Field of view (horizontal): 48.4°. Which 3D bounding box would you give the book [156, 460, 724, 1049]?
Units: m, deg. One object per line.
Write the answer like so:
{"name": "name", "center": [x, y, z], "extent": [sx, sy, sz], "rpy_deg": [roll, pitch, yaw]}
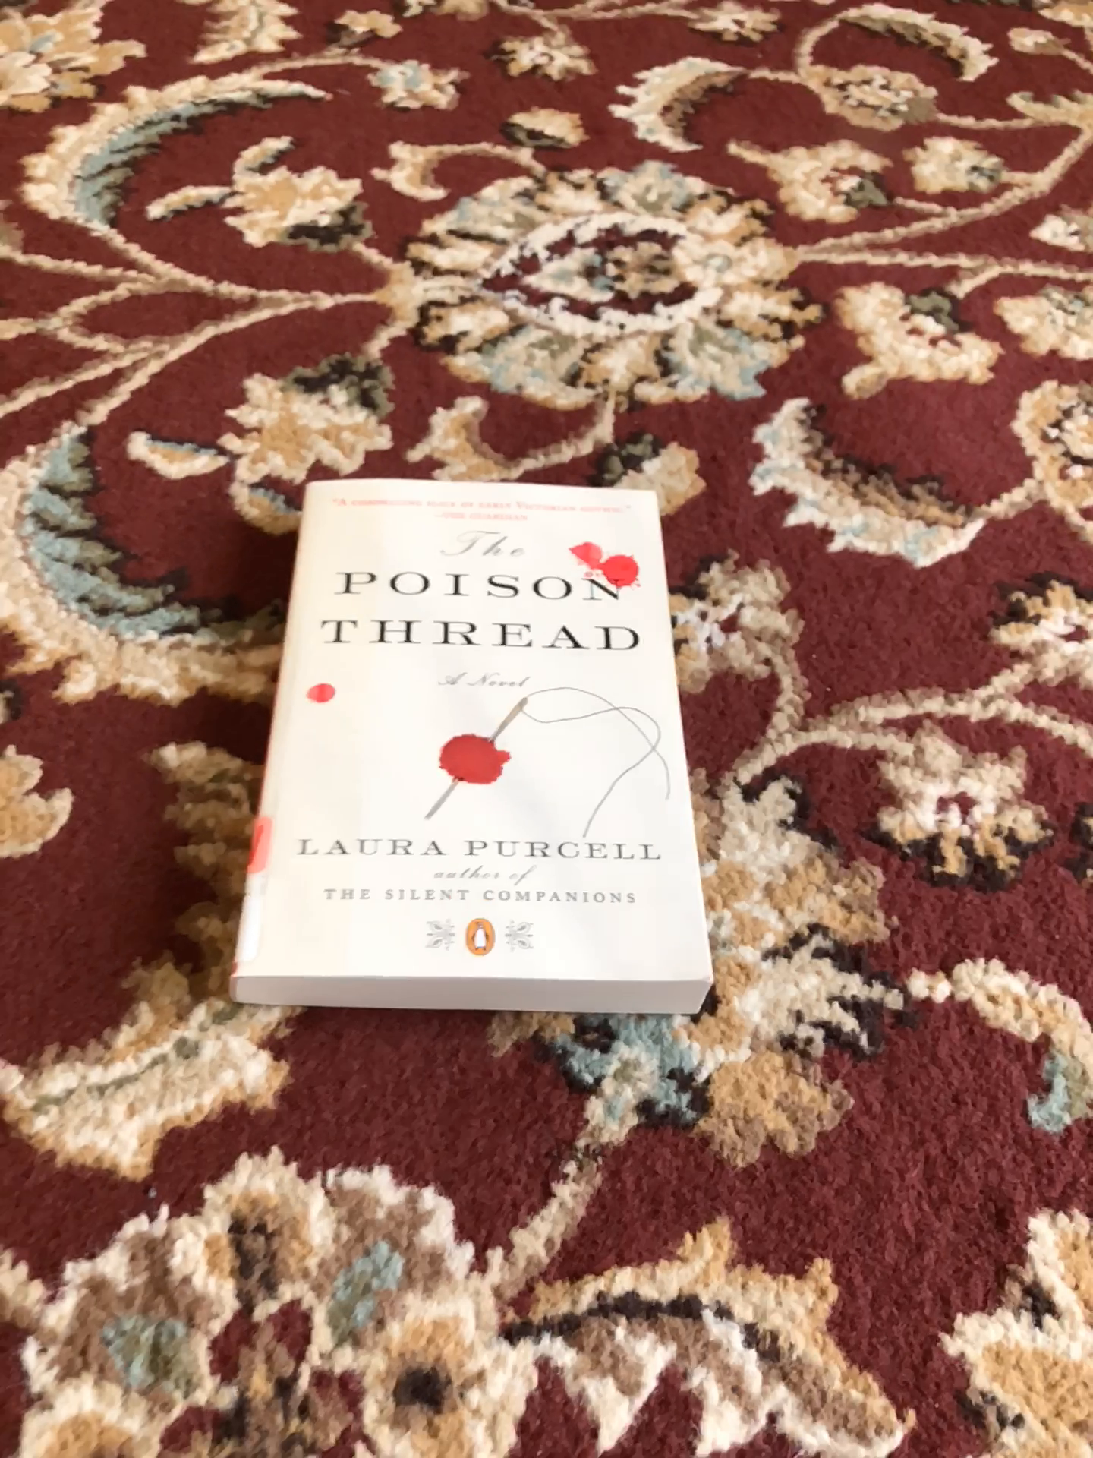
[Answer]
{"name": "book", "center": [-0.030, -0.004, 0.374], "extent": [0.140, 0.030, 0.200], "rpy_deg": [1, 52, -4]}
